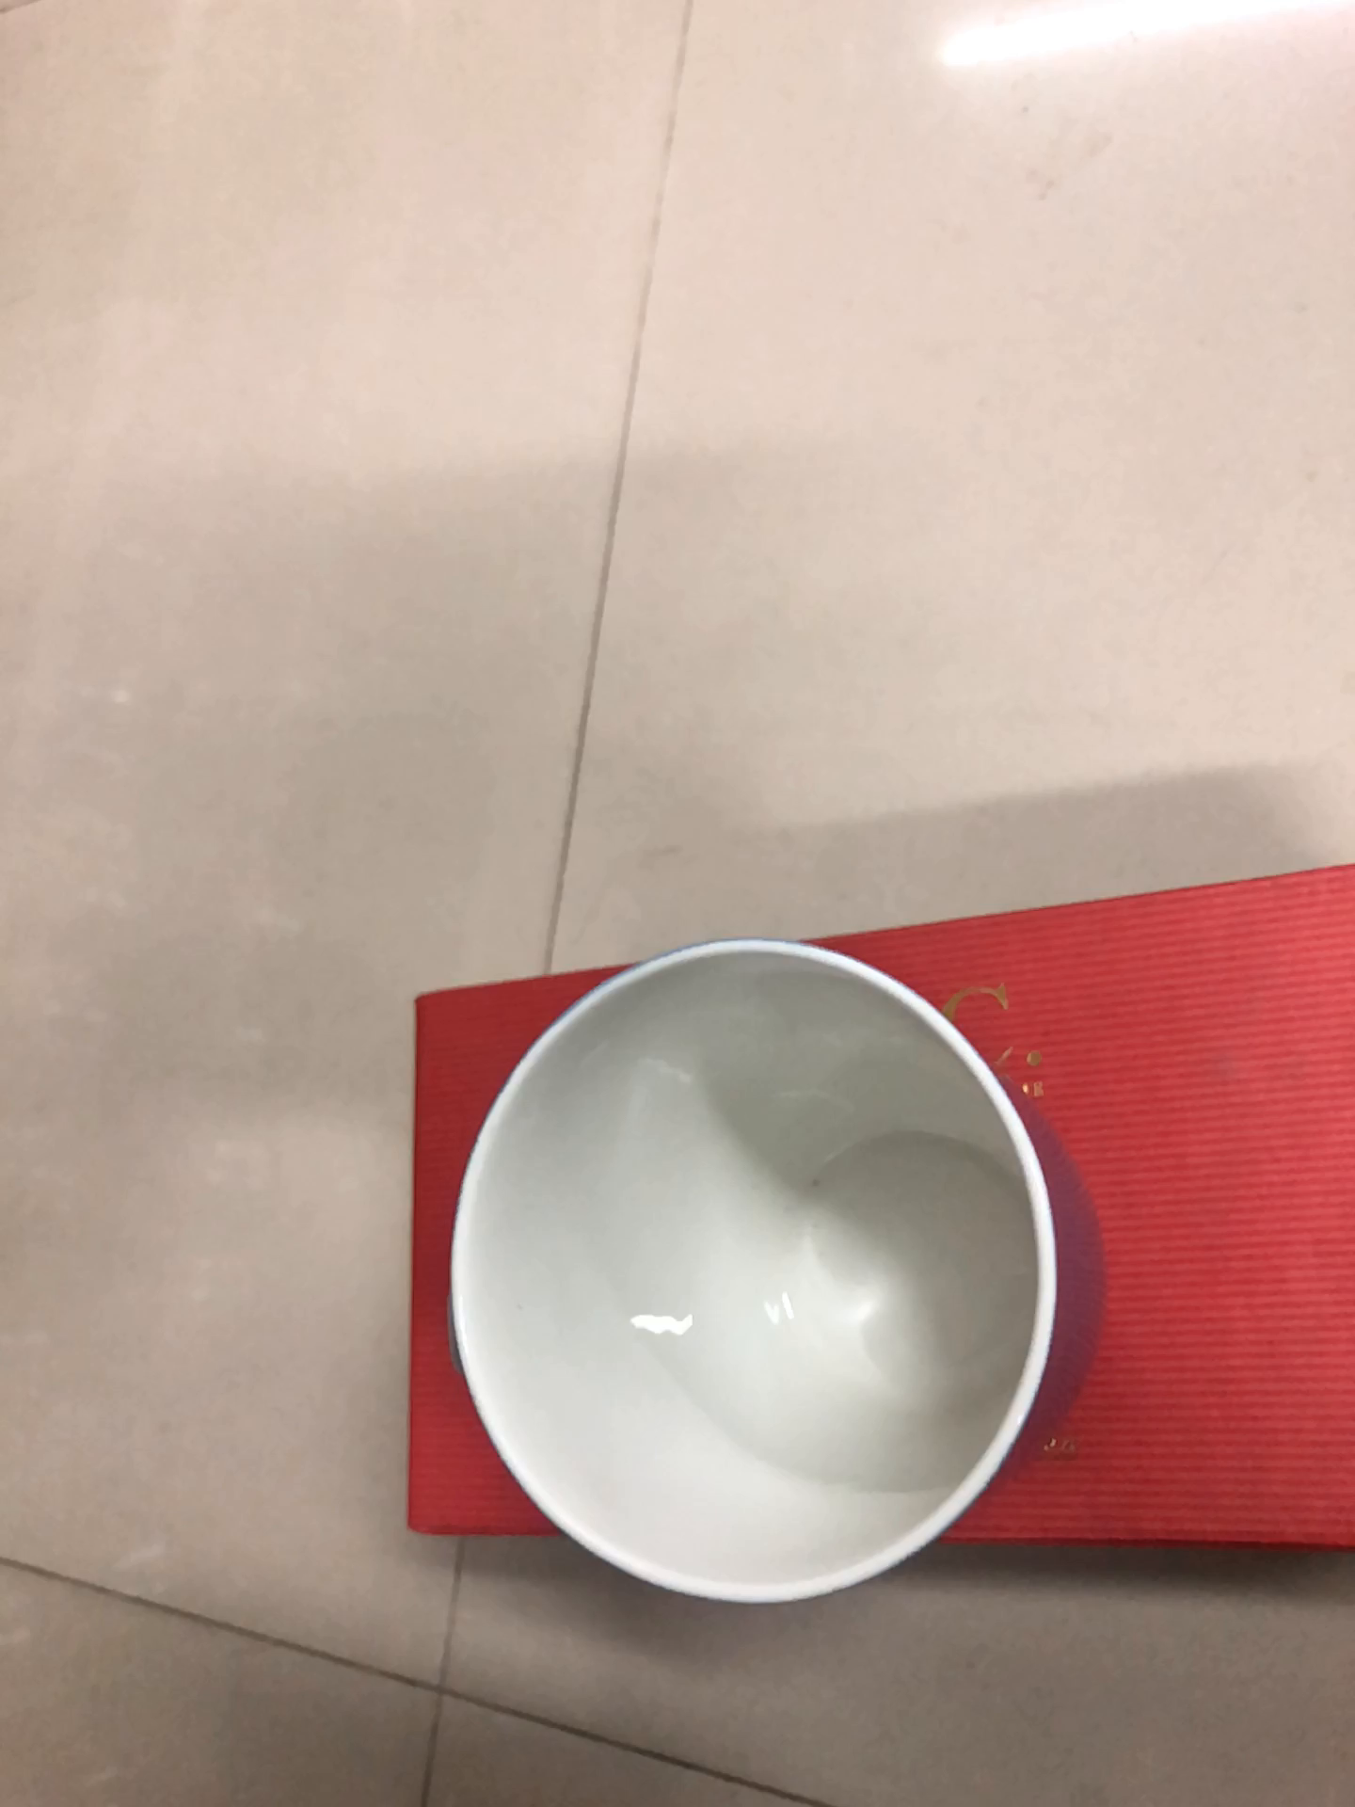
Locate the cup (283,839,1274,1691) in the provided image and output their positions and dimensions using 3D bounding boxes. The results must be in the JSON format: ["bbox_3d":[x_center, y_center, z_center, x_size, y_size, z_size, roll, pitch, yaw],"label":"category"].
[{"bbox_3d":[0.016,0.055,0.223,0.110,0.080,0.080,-19,69,19],"label":"cup"}]
